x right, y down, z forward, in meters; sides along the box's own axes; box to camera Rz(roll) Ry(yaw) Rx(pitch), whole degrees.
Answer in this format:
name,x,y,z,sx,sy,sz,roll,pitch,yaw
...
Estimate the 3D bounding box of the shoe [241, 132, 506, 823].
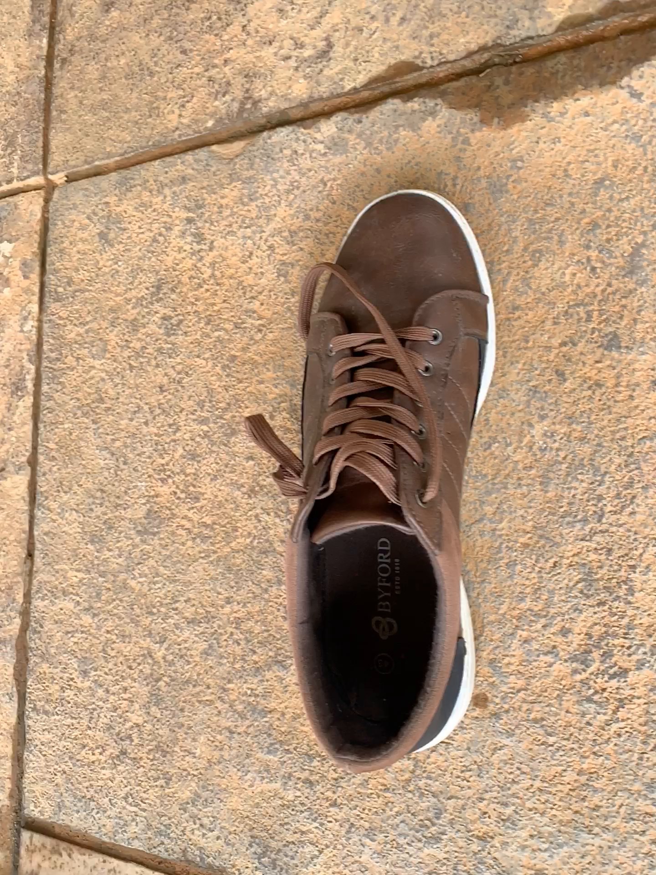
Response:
name,x,y,z,sx,sy,sz,roll,pitch,yaw
shoe,0.026,0.016,0.353,0.110,0.080,0.300,-3,83,26
